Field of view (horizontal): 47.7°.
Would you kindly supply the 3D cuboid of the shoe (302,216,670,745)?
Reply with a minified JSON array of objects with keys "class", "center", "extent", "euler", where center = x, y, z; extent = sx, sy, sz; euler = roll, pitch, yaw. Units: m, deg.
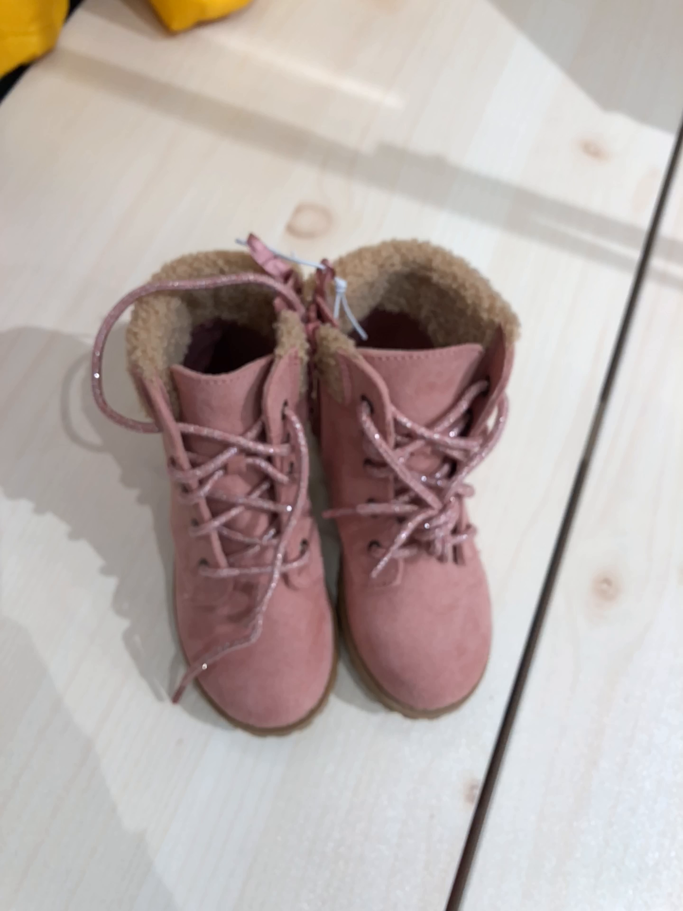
[{"class":"shoe","center":[0.036,0.016,0.293],"extent":[0.080,0.120,0.160],"euler":[-6,68,-6]}]

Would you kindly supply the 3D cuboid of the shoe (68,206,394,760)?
[{"class":"shoe","center":[-0.041,0.017,0.280],"extent":[0.080,0.120,0.160],"euler":[-6,68,-6]}]
